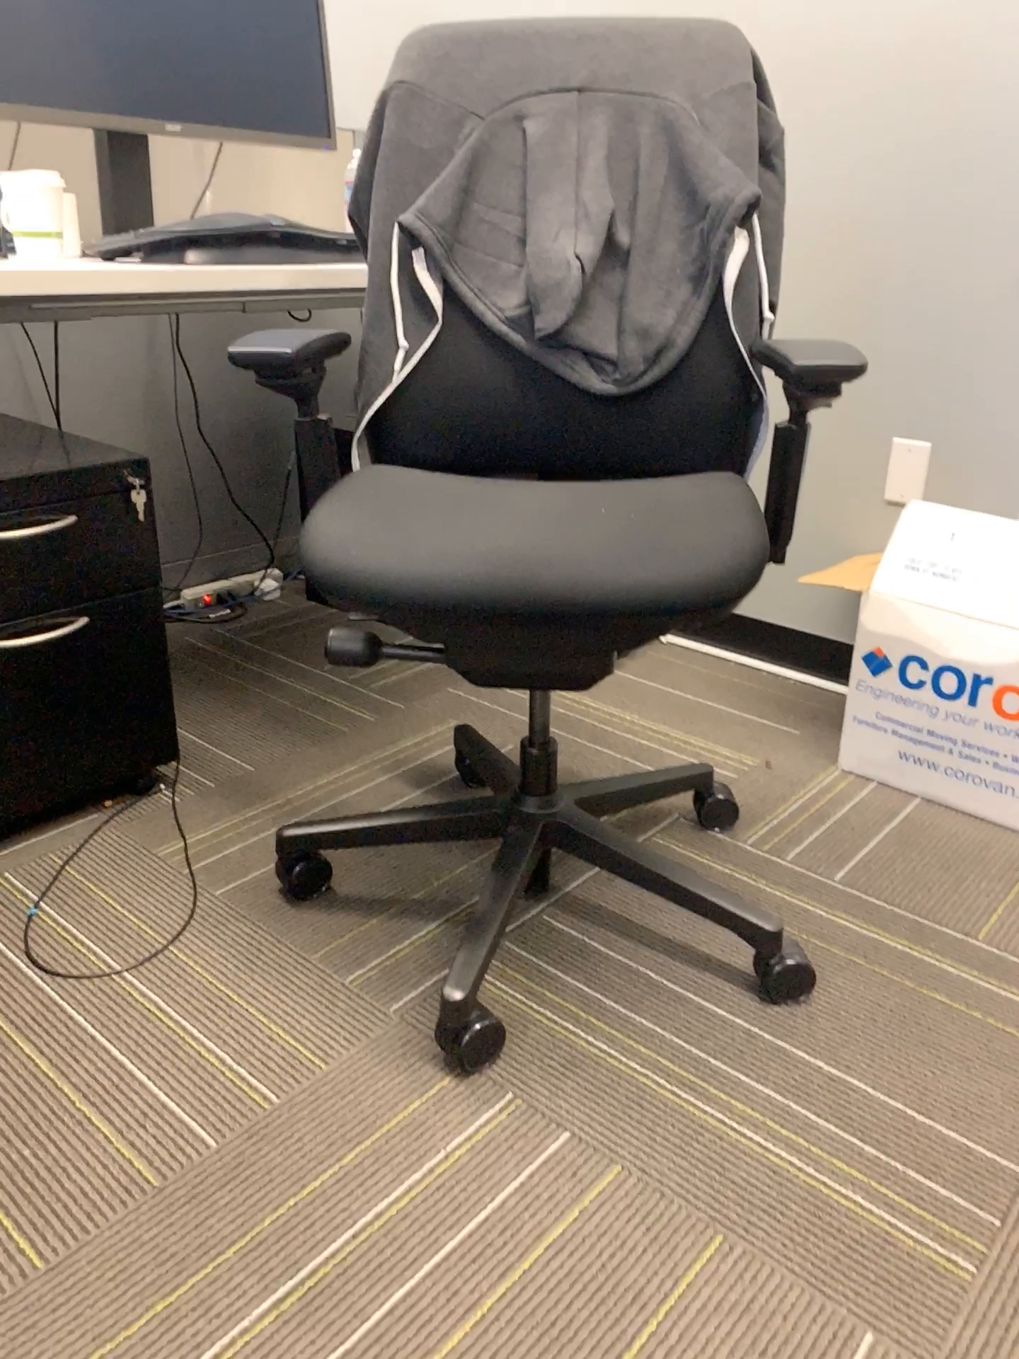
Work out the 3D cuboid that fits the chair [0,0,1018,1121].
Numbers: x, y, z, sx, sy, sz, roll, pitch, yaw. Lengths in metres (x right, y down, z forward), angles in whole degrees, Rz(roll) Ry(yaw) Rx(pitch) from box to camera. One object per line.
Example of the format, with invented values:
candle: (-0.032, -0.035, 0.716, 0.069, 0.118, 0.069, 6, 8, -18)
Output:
chair: (0.037, -0.263, 1.263, 0.750, 1.074, 0.884, 4, 23, 6)
